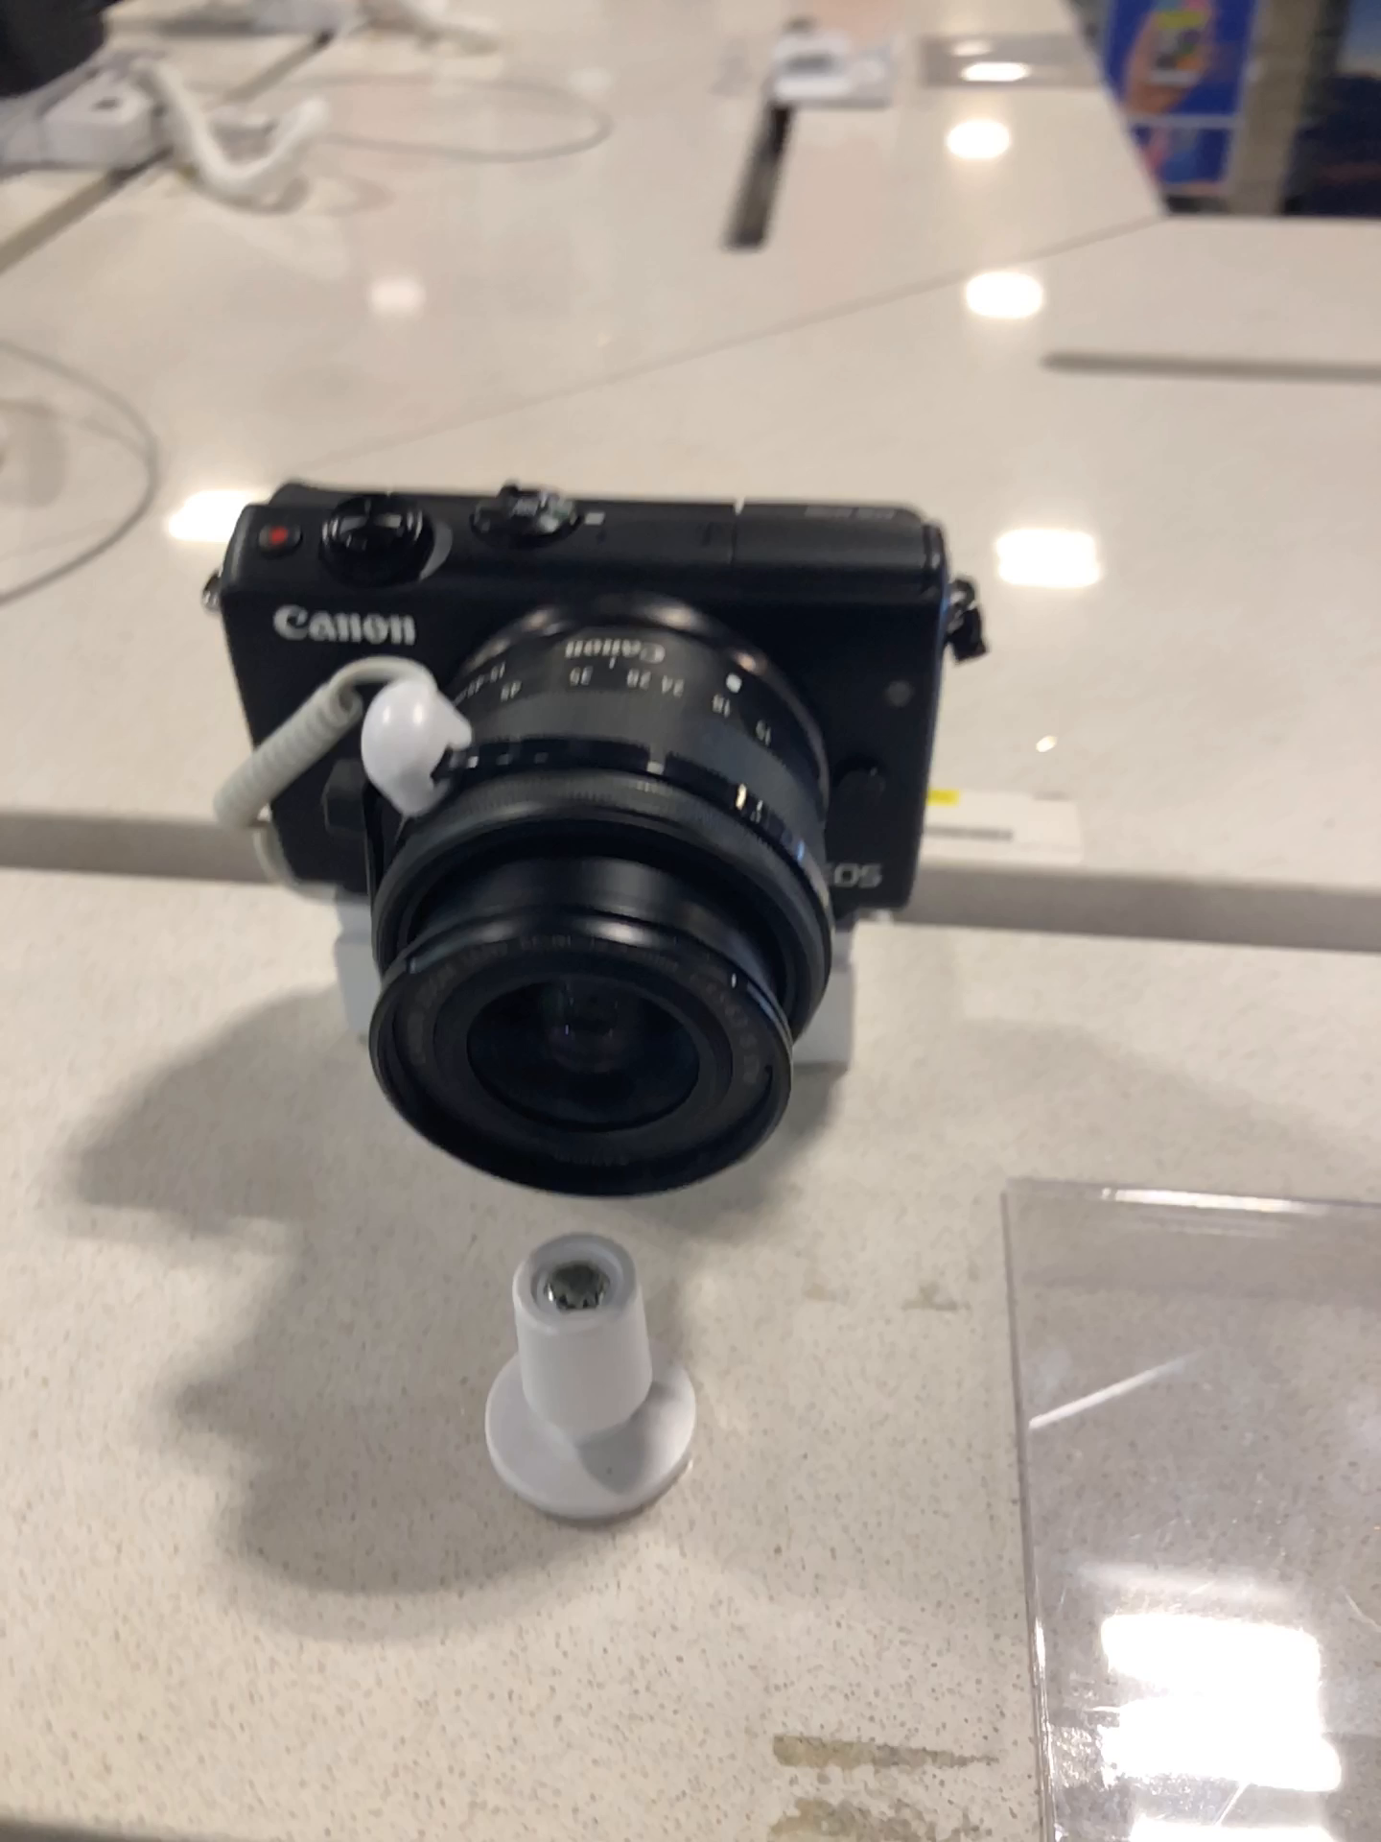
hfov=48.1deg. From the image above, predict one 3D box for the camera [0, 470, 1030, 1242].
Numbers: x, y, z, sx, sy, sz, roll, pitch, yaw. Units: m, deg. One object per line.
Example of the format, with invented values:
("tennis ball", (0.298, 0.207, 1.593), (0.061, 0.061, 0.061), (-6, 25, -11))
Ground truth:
("camera", (-0.019, -0.015, 0.219), (0.120, 0.060, 0.091), (4, 39, 6))
